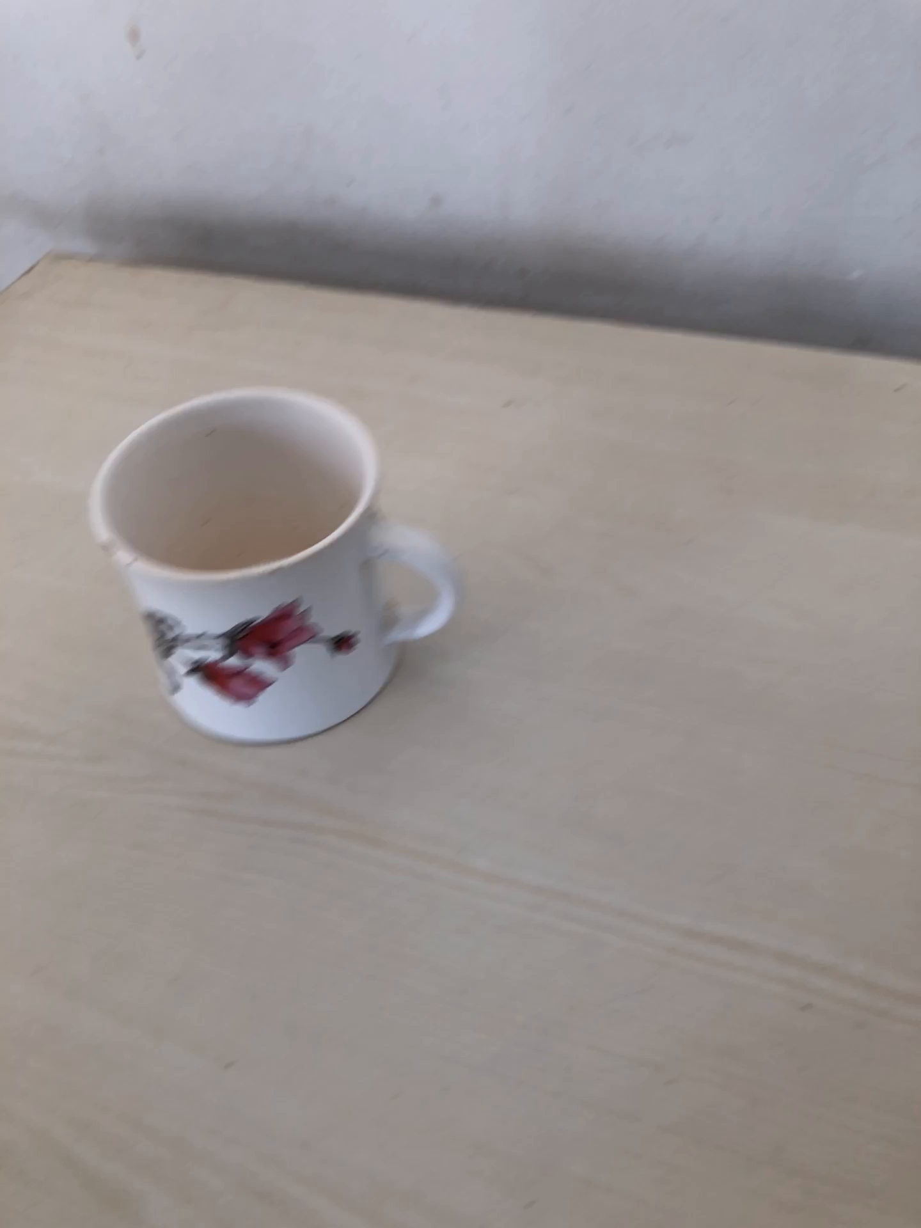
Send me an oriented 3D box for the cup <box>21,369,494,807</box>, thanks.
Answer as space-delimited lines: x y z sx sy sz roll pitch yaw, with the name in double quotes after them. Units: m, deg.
-0.045 -0.009 0.275 0.090 0.070 0.081 9 48 12 "cup"
